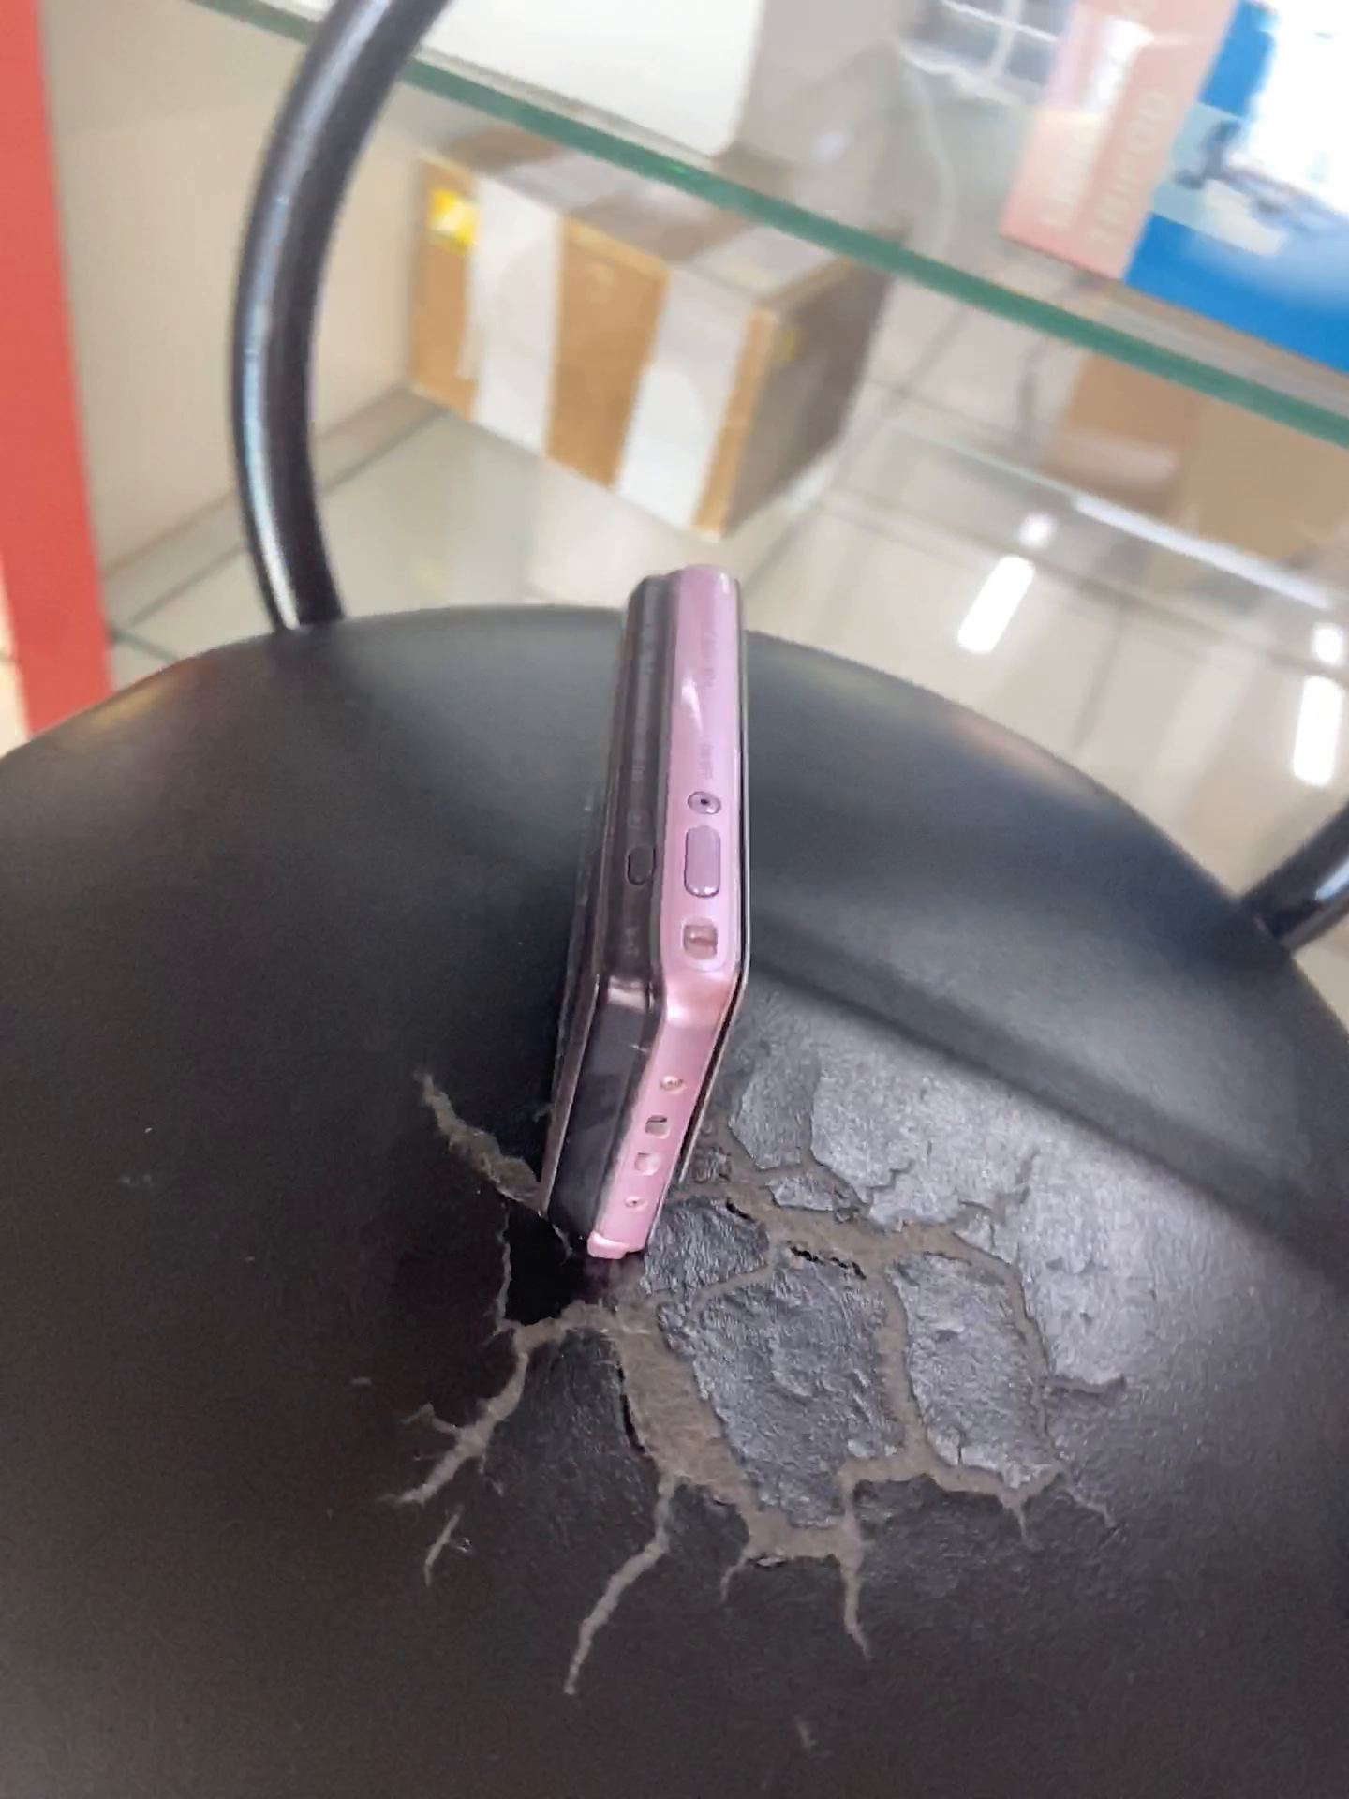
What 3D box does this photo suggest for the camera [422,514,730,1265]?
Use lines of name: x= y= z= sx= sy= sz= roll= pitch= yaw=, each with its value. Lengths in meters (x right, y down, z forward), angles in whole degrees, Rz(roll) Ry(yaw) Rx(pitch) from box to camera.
camera: x=-0.013 y=-0.006 z=0.206 sx=0.030 sy=0.050 sz=0.101 roll=9 pitch=44 yaw=-7
